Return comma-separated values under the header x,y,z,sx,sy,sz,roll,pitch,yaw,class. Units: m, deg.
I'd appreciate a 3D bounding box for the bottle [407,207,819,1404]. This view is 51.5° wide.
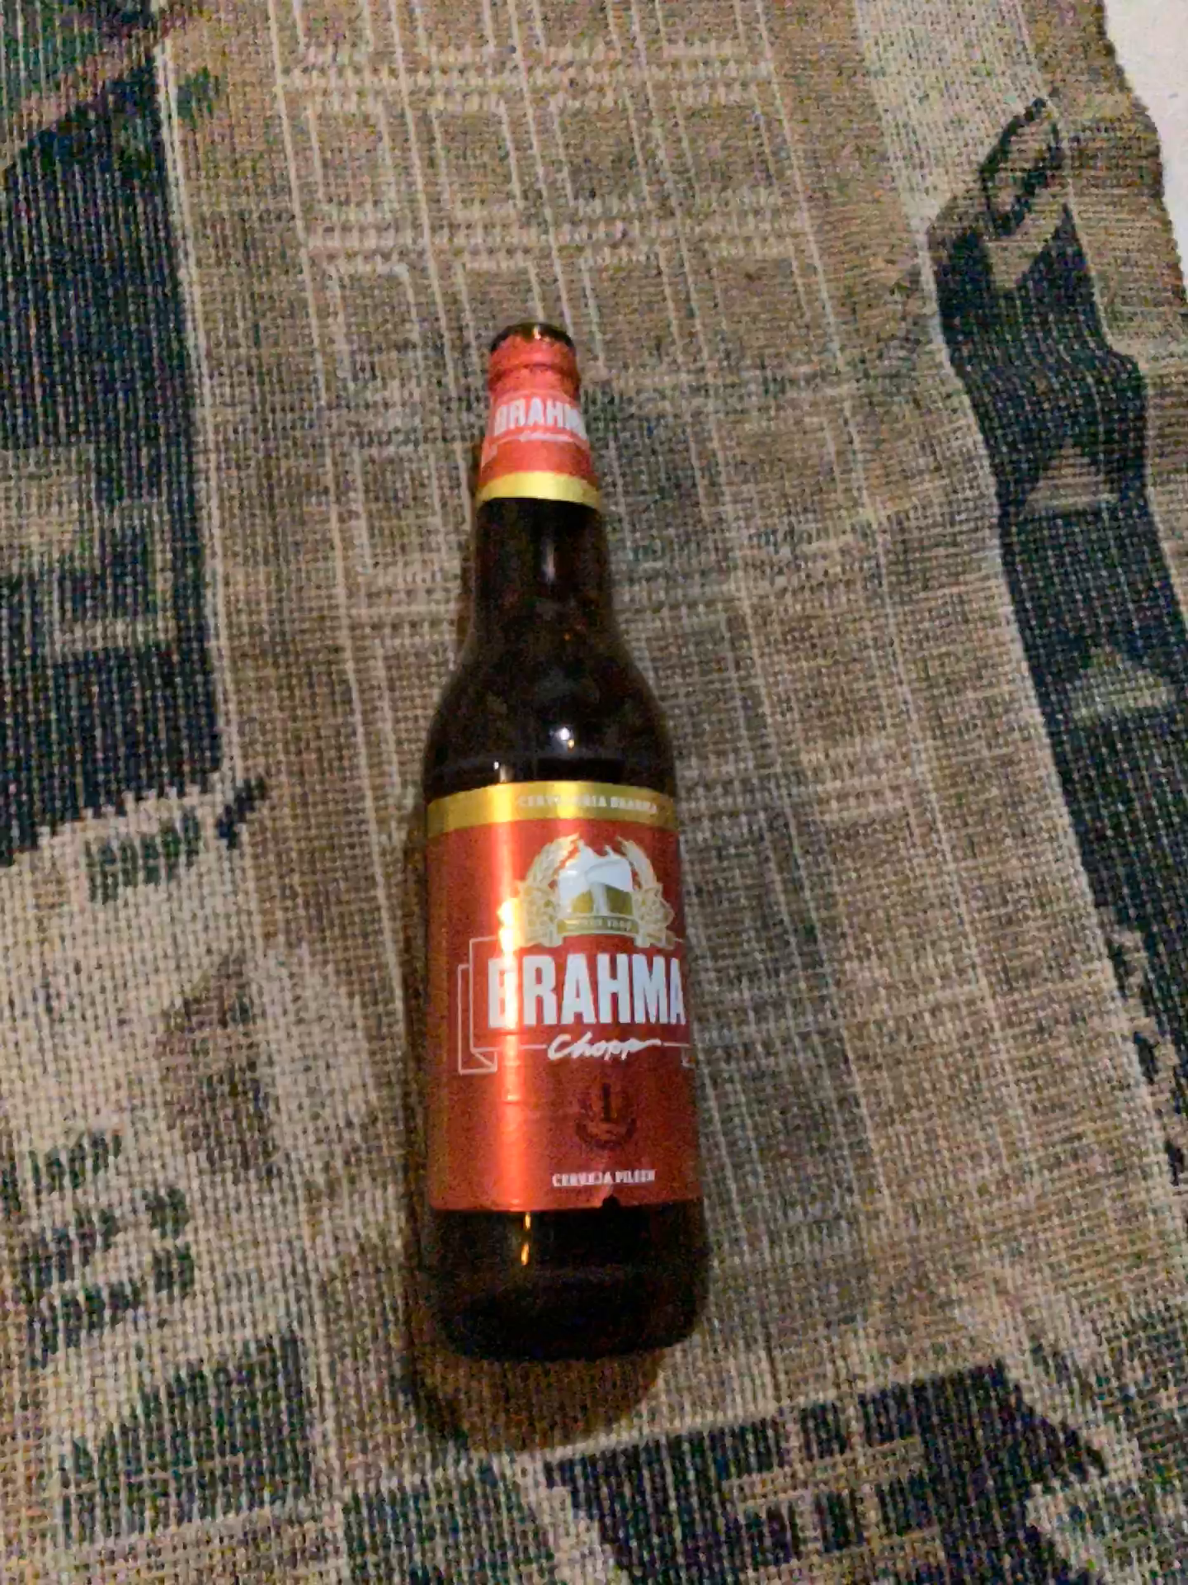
x,y,z,sx,sy,sz,roll,pitch,yaw,class
-0.004,-0.006,0.316,0.080,0.060,0.280,1,75,-13,bottle
